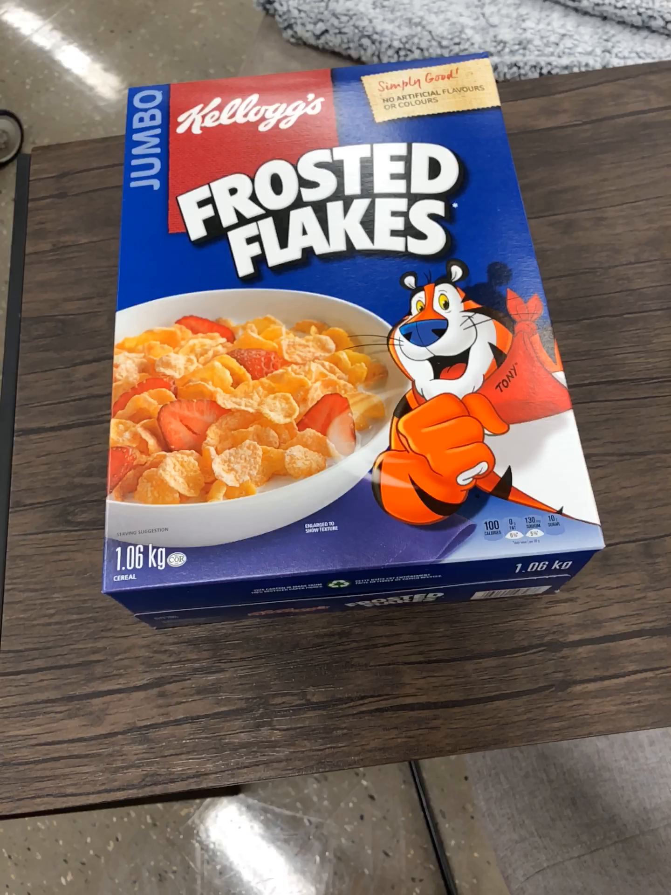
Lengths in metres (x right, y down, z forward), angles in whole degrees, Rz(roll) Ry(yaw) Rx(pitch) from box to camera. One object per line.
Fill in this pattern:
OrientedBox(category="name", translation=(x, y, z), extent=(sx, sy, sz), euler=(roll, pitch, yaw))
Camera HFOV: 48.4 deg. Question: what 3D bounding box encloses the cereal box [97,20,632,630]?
OrientedBox(category="cereal box", translation=(0.004, -0.090, 0.472), extent=(0.250, 0.100, 0.370), euler=(-5, 65, 1))
